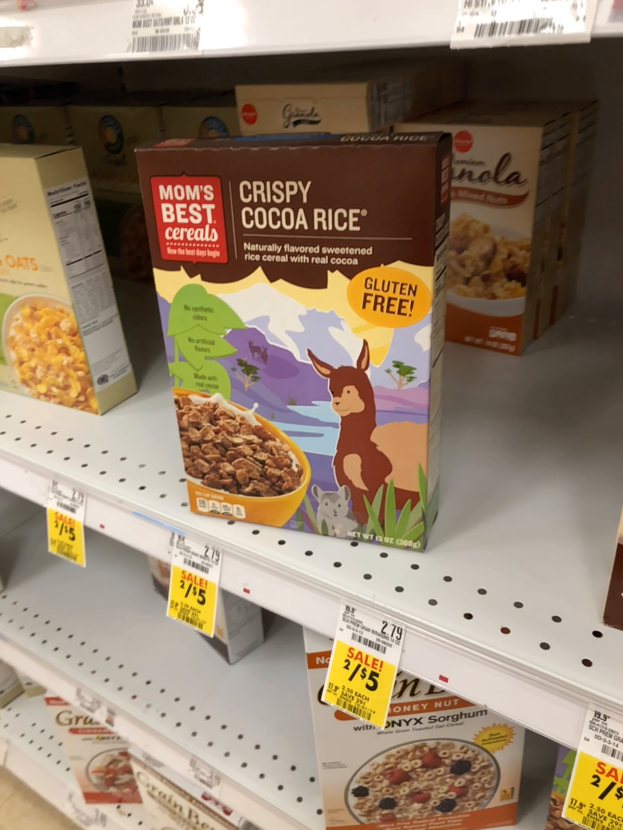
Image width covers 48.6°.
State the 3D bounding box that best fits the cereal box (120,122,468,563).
[{"bbox_3d":[-0.003,-0.049,0.488,0.200,0.279,0.080,6,28,19],"label":"cereal box"}]
